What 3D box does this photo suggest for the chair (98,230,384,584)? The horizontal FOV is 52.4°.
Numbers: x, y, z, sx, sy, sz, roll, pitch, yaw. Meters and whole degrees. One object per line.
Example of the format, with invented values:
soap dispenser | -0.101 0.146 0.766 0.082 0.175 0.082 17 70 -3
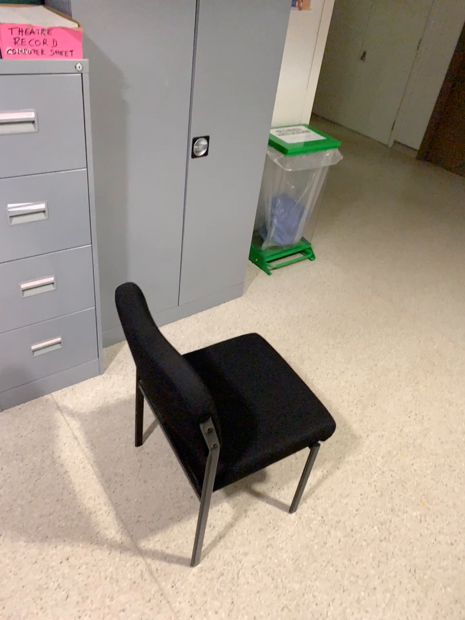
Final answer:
chair | -0.048 0.292 1.590 0.581 0.832 0.635 -14 42 -27
